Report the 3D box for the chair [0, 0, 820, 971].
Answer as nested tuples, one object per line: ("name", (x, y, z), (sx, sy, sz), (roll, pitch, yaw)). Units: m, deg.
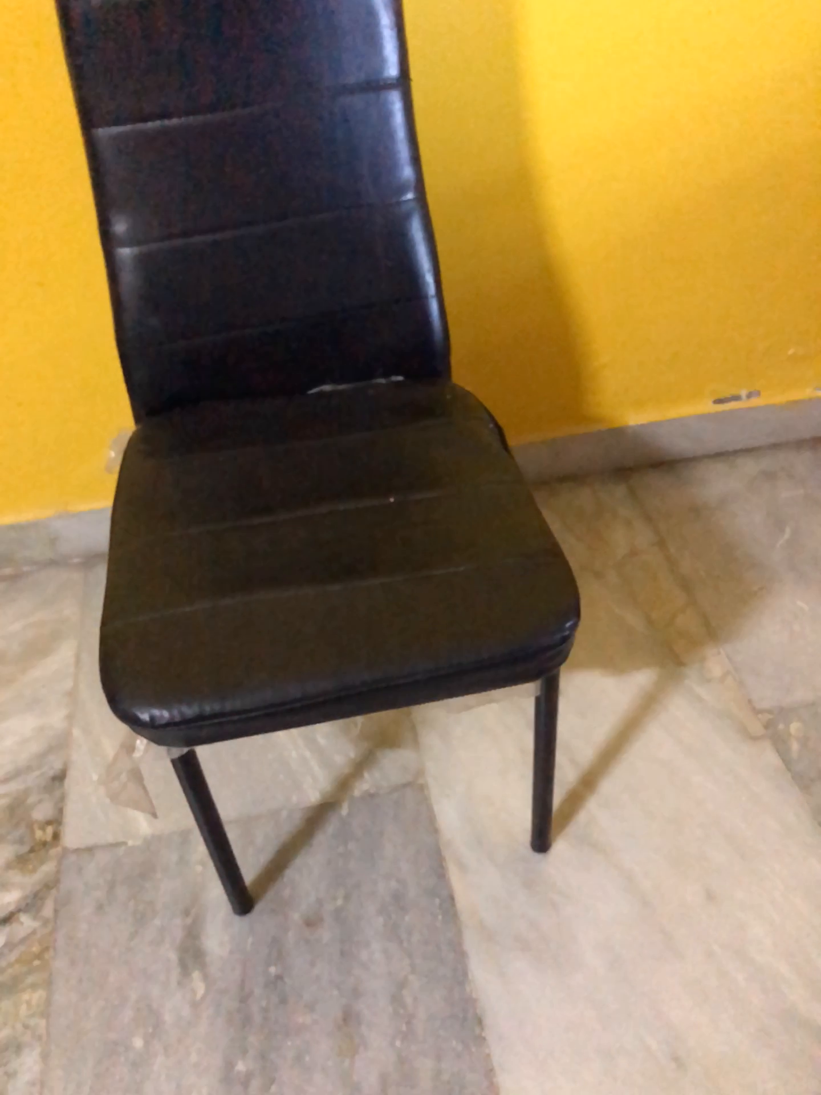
("chair", (-0.090, -0.089, 0.861), (0.480, 0.903, 0.534), (-9, 45, -6))
